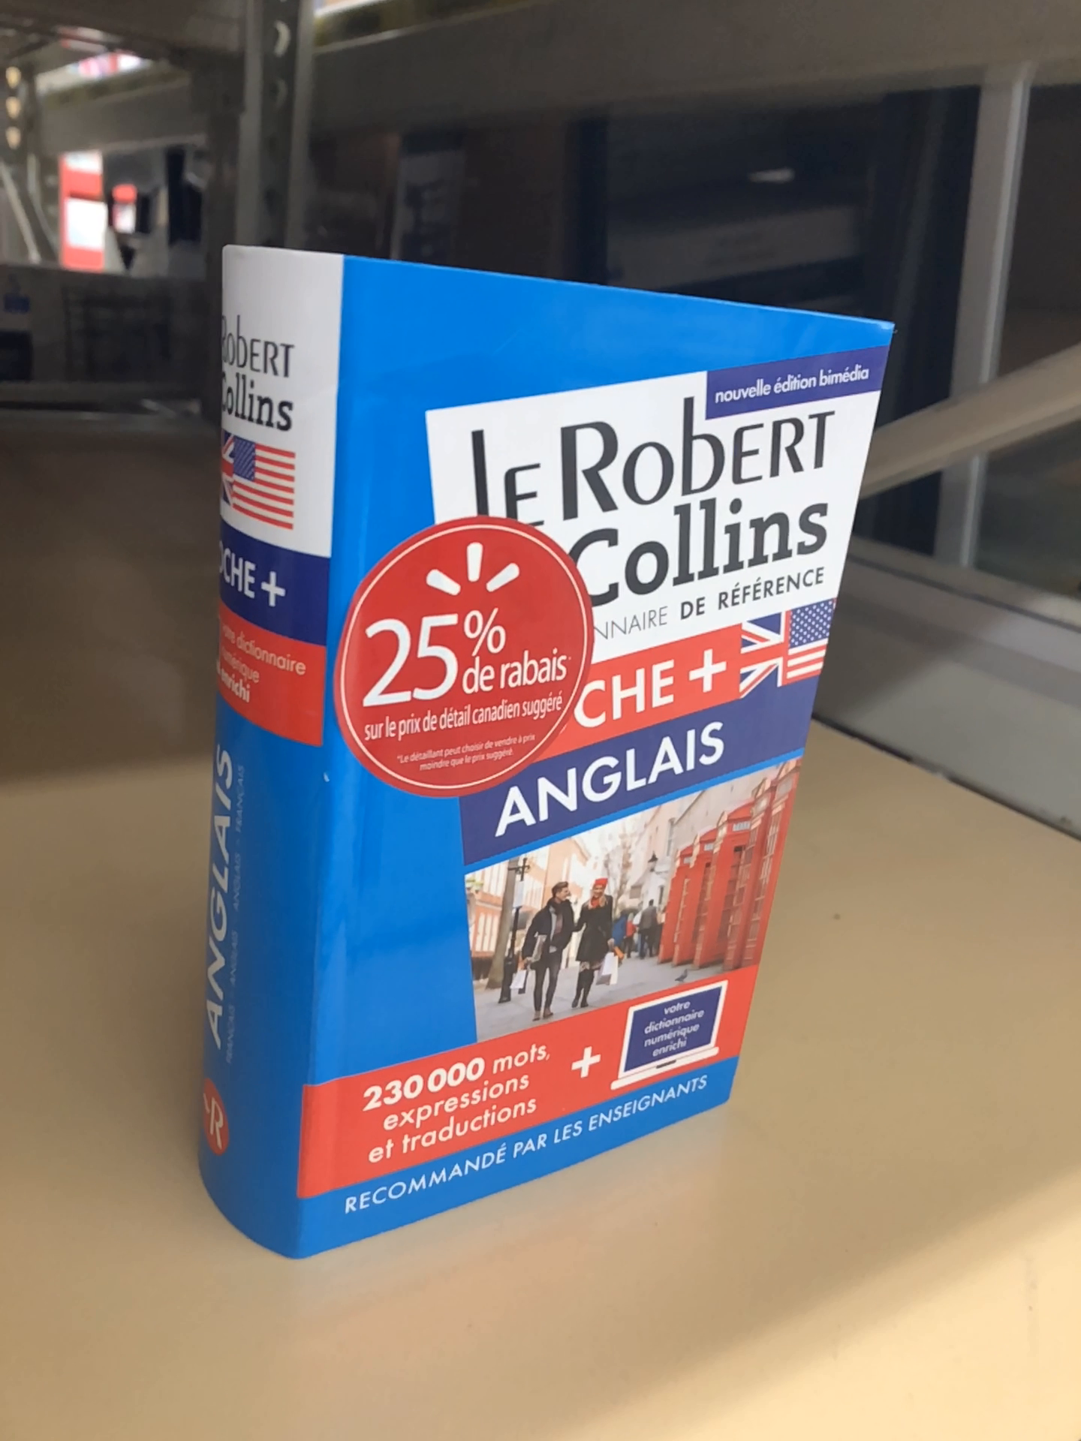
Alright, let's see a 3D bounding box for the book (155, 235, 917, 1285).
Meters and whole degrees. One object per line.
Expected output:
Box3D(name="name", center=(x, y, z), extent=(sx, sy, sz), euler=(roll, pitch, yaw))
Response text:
Box3D(name="book", center=(-0.006, 0.004, 0.242), extent=(0.121, 0.173, 0.059), euler=(-6, 24, -34))
